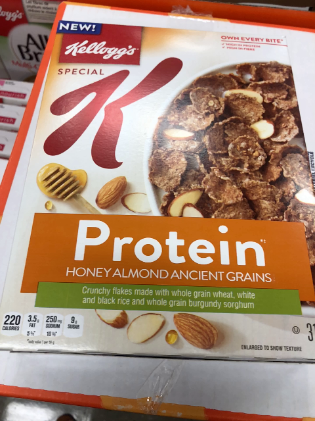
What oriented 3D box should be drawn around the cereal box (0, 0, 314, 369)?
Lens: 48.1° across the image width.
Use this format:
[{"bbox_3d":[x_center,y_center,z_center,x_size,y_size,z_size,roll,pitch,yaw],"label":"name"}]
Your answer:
[{"bbox_3d":[0.007,-0.032,0.253,0.200,0.060,0.260,2,66,0],"label":"cereal box"}]
